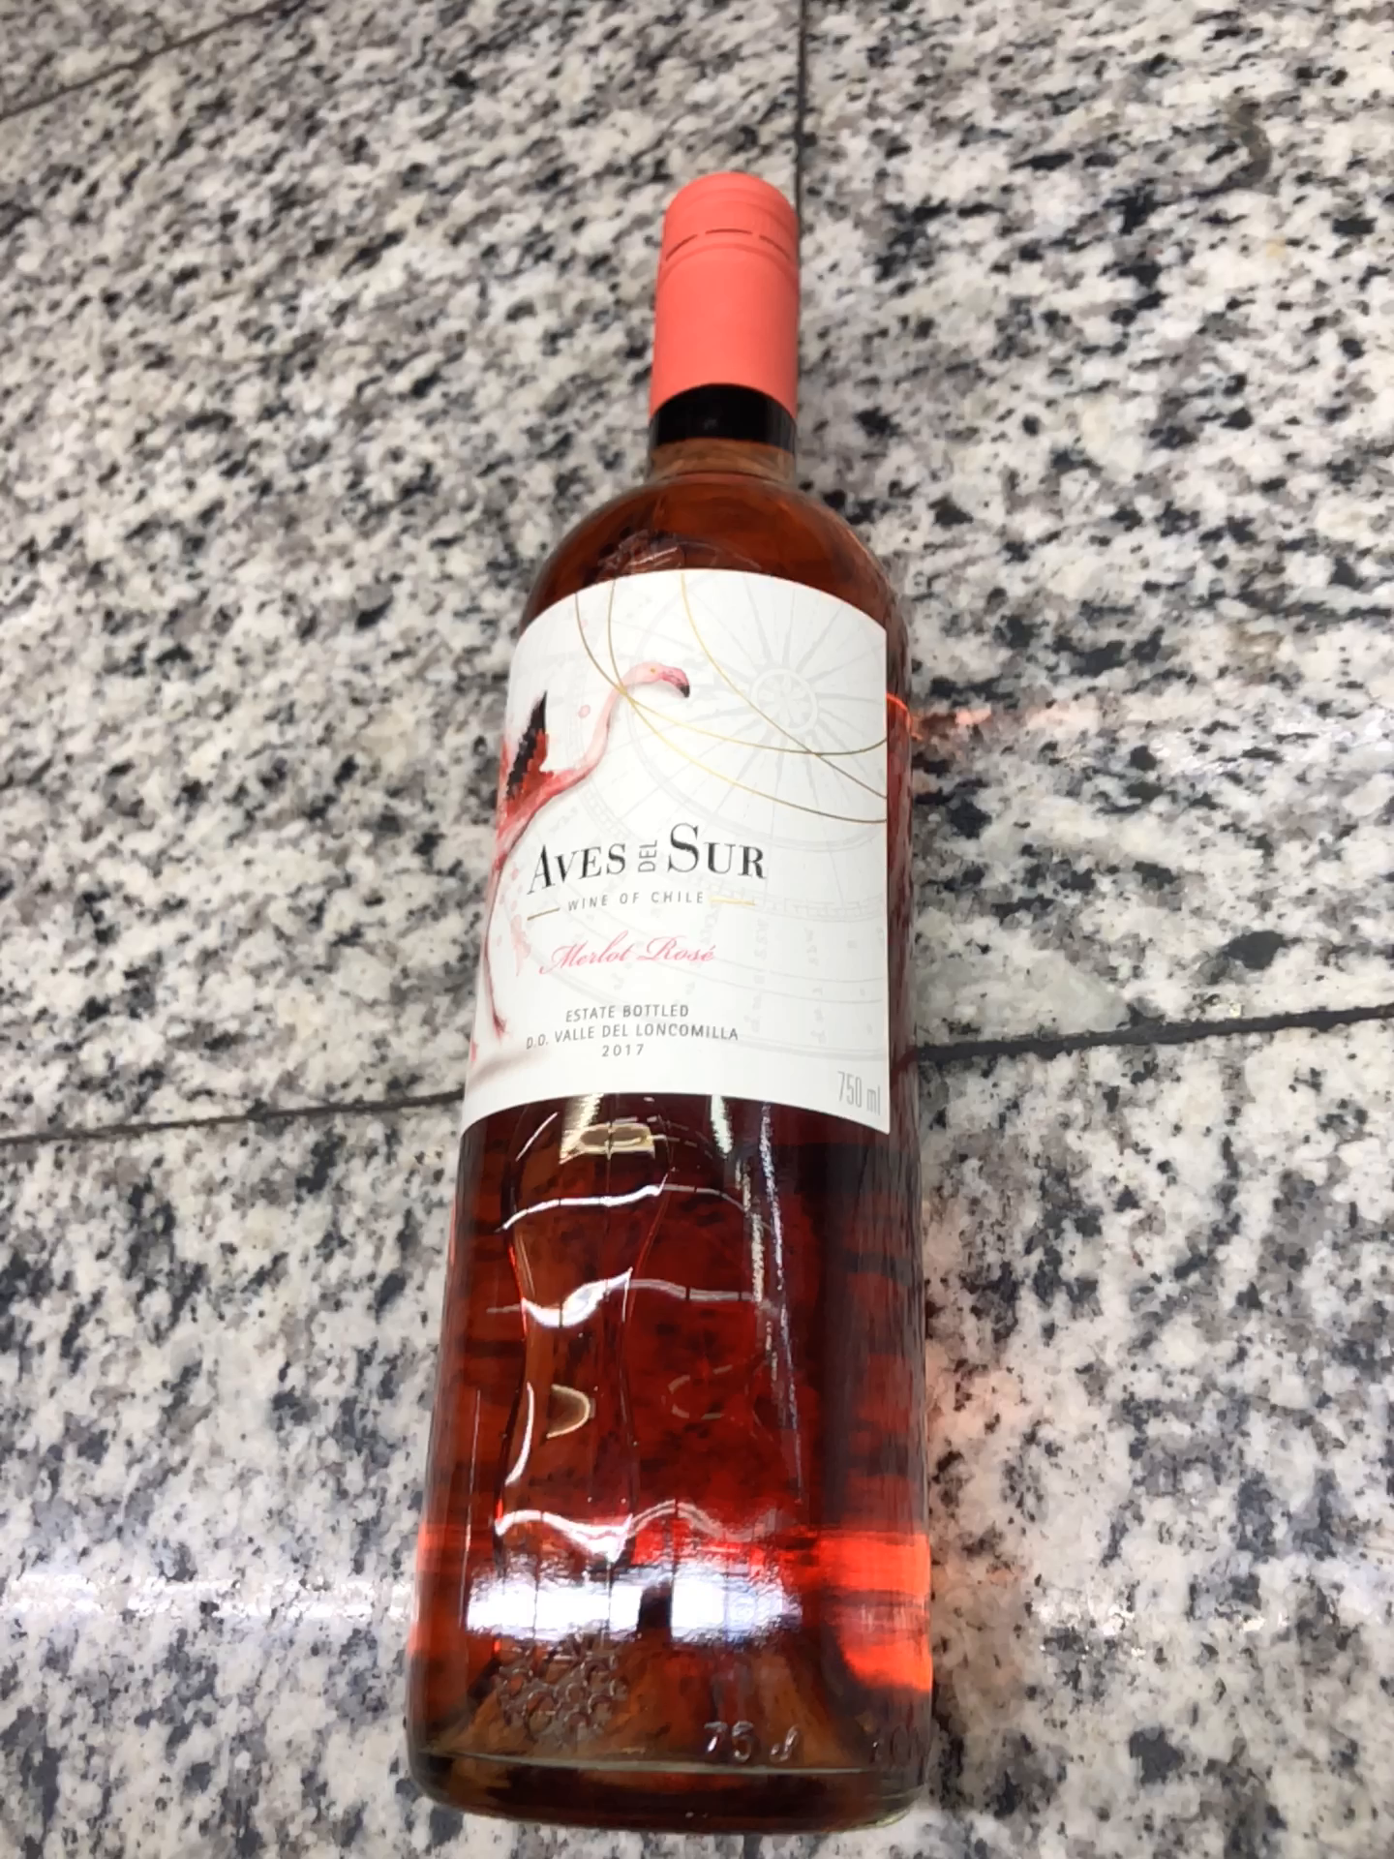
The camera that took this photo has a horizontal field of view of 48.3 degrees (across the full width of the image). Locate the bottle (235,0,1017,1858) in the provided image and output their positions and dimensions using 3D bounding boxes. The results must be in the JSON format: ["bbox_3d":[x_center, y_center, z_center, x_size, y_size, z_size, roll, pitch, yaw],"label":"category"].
[{"bbox_3d":[-0.002,-0.024,0.295,0.090,0.070,0.341,-9,62,21],"label":"bottle"}]
